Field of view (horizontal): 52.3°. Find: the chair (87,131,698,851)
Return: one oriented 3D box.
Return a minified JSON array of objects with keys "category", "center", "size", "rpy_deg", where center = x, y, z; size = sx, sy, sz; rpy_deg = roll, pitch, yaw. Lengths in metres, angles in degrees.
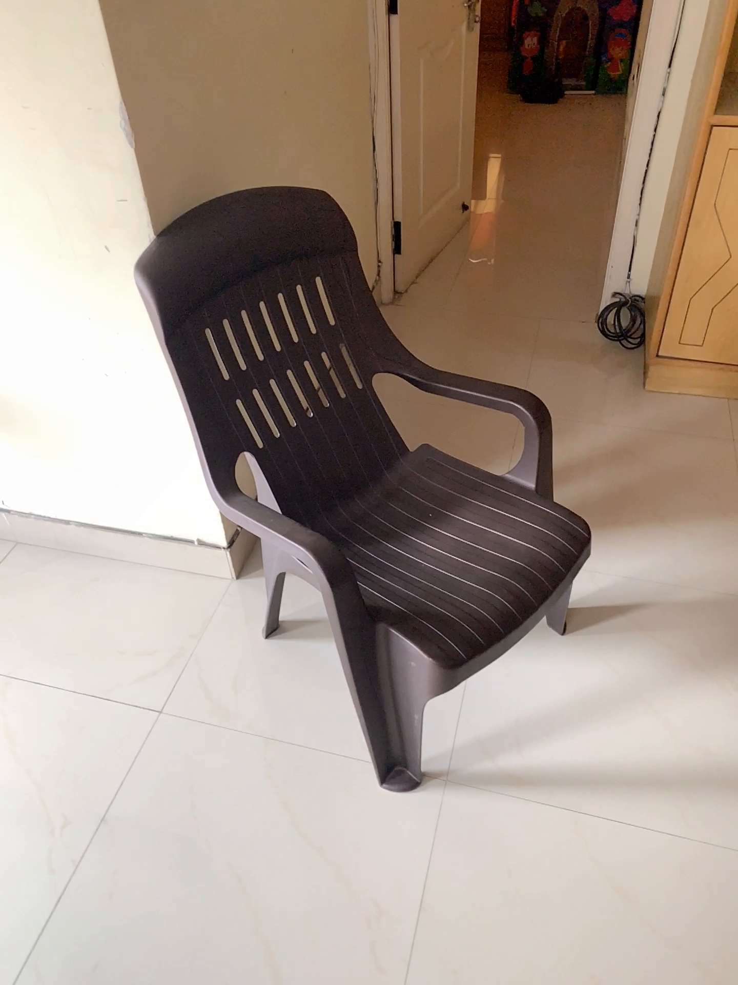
[{"category":"chair","center":[0.044,-0.006,1.429],"size":[0.602,1.031,0.663],"rpy_deg":[-34,49,-30]}]
